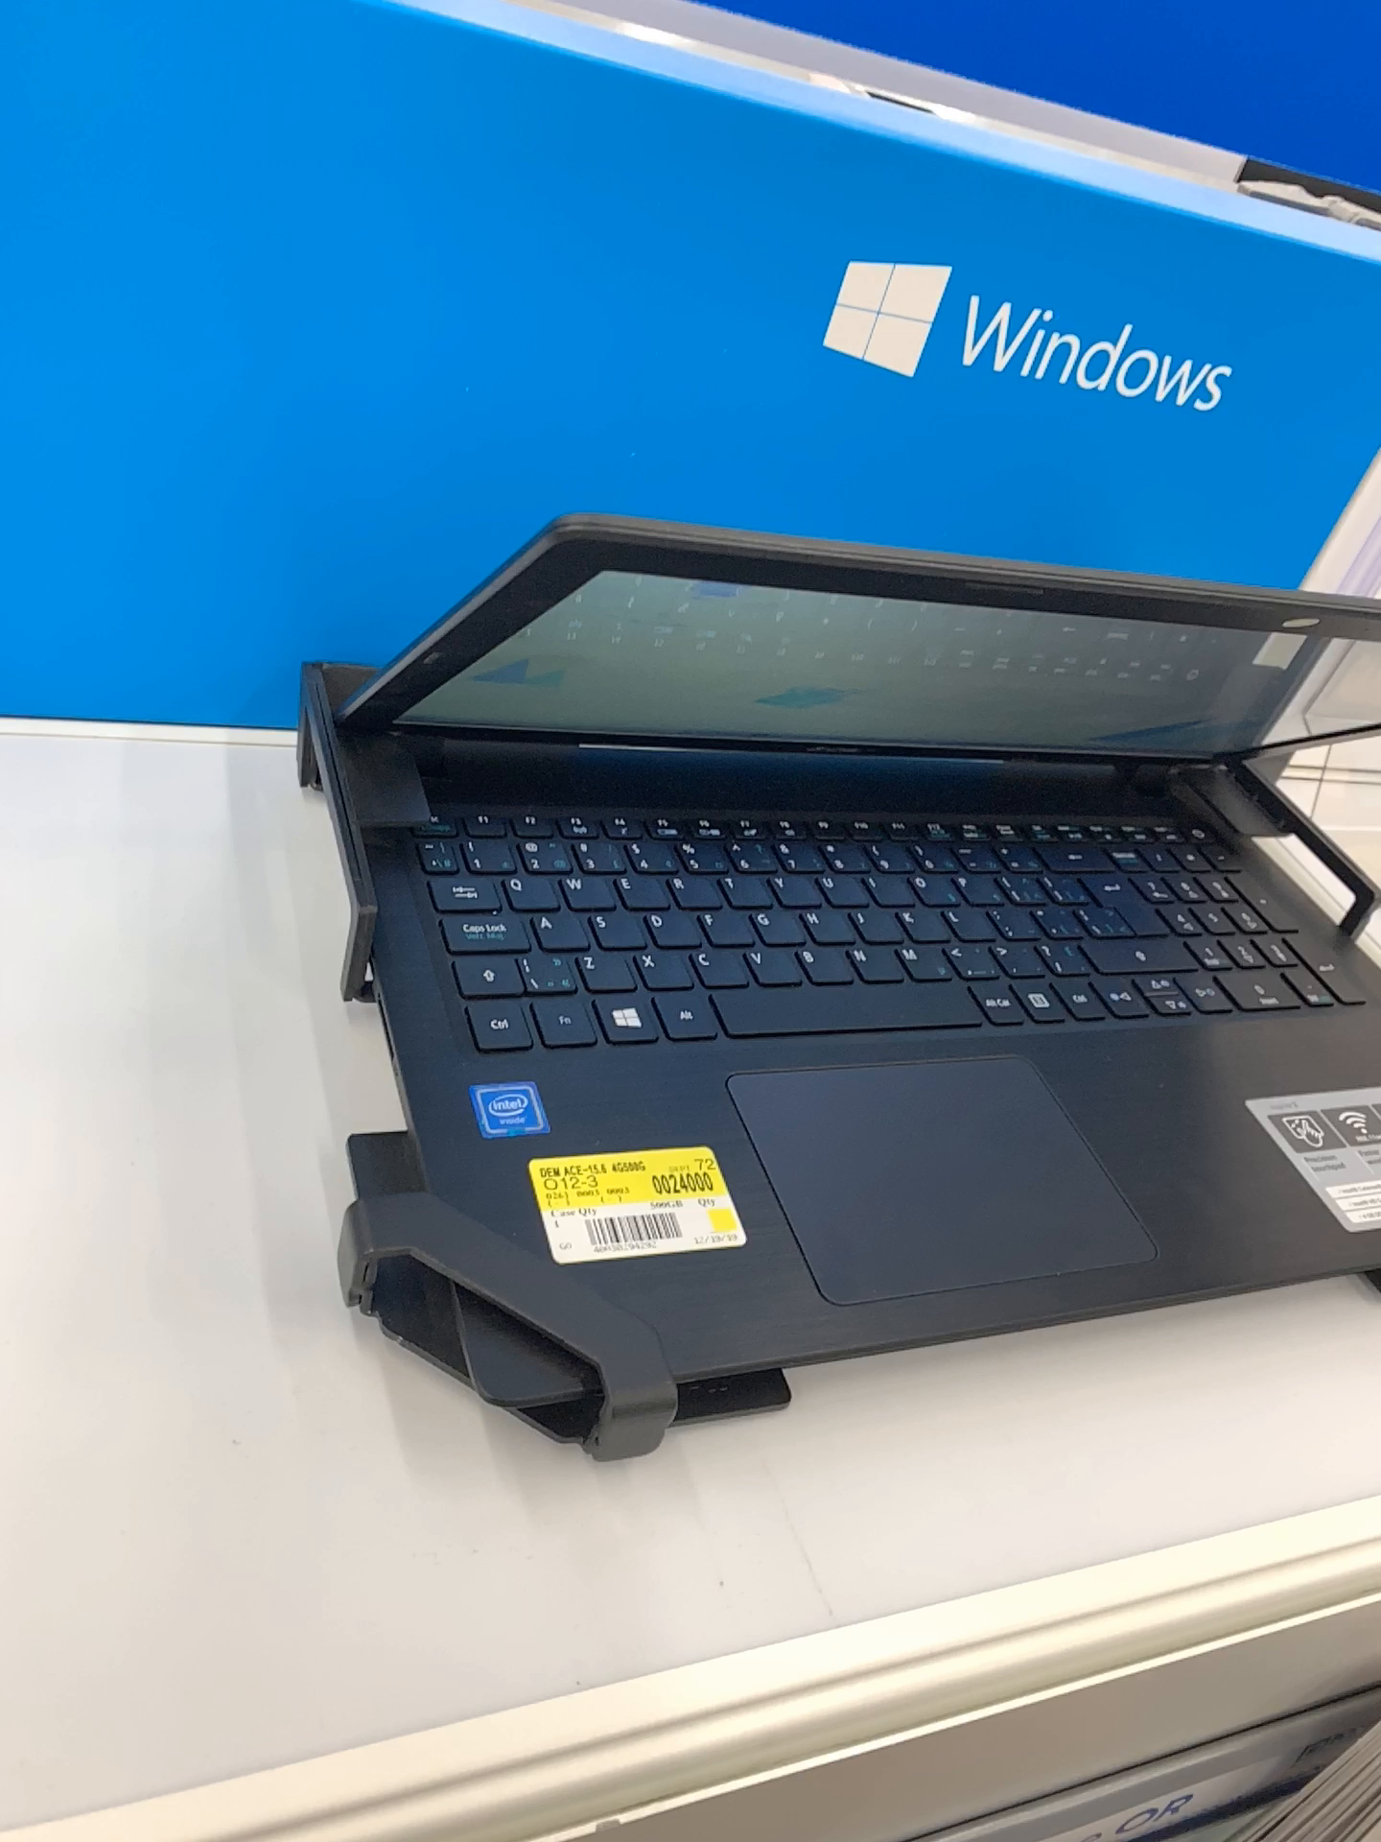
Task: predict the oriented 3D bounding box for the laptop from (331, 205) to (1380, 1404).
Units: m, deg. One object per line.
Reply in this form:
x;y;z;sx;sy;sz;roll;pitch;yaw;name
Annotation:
0.103;-0.043;0.383;0.345;0.157;0.233;-1;40;-24;laptop
